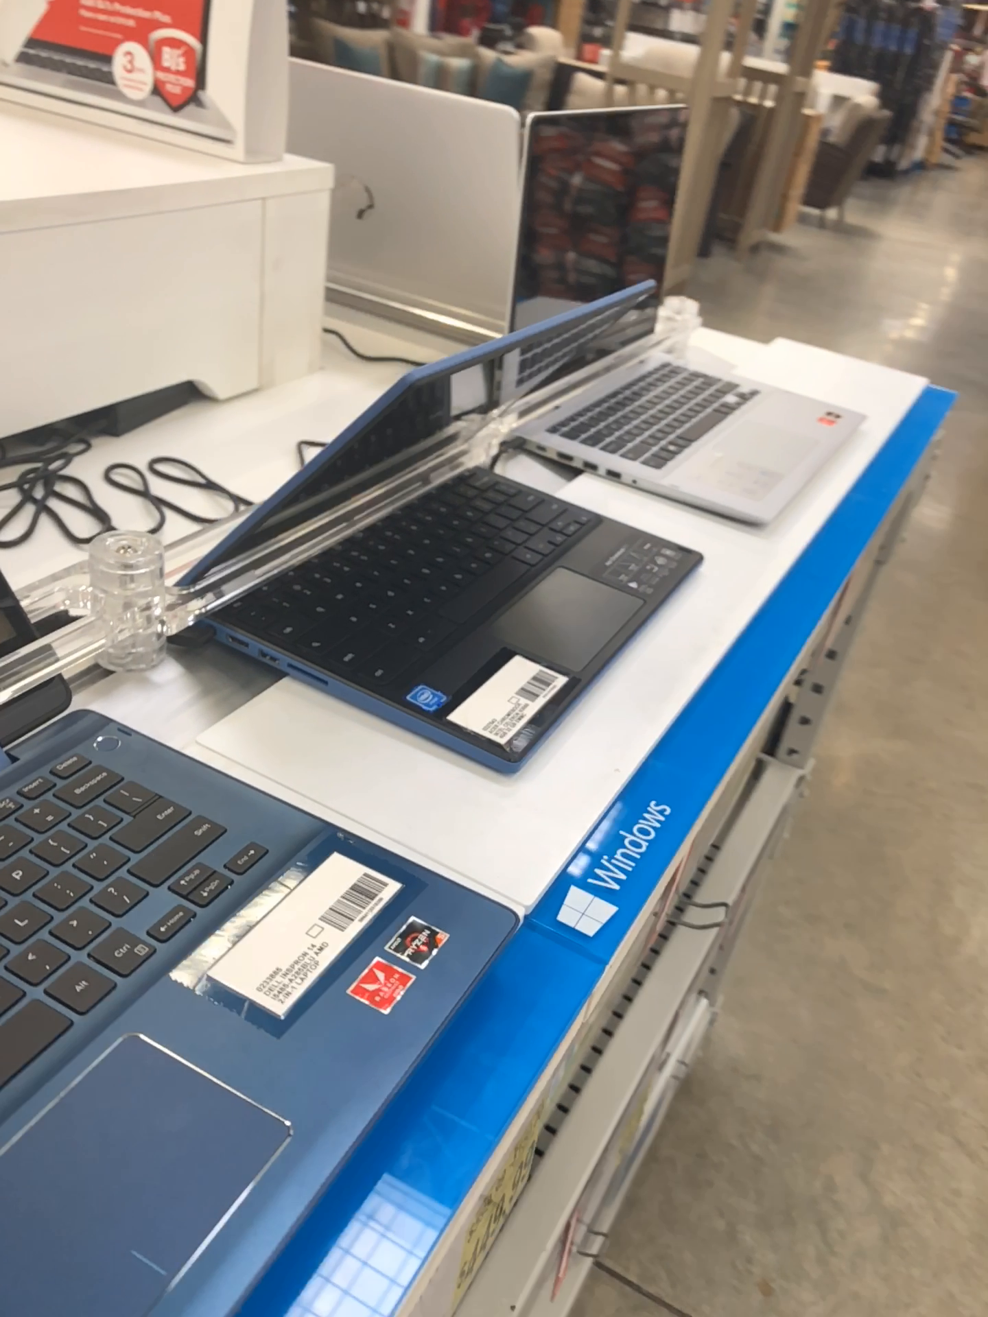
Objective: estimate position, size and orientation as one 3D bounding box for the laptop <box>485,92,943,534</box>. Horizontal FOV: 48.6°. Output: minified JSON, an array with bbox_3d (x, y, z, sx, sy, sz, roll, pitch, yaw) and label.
[{"bbox_3d":[0.192,-0.317,0.925,0.255,0.218,0.342,25,36,19],"label":"laptop"}]

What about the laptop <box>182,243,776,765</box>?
[{"bbox_3d":[0.004,-0.112,0.615,0.194,0.159,0.295,23,33,18],"label":"laptop"}]

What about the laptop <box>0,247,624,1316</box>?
[{"bbox_3d":[-0.202,0.030,0.310,0.367,0.169,0.306,21,33,18],"label":"laptop"}]
